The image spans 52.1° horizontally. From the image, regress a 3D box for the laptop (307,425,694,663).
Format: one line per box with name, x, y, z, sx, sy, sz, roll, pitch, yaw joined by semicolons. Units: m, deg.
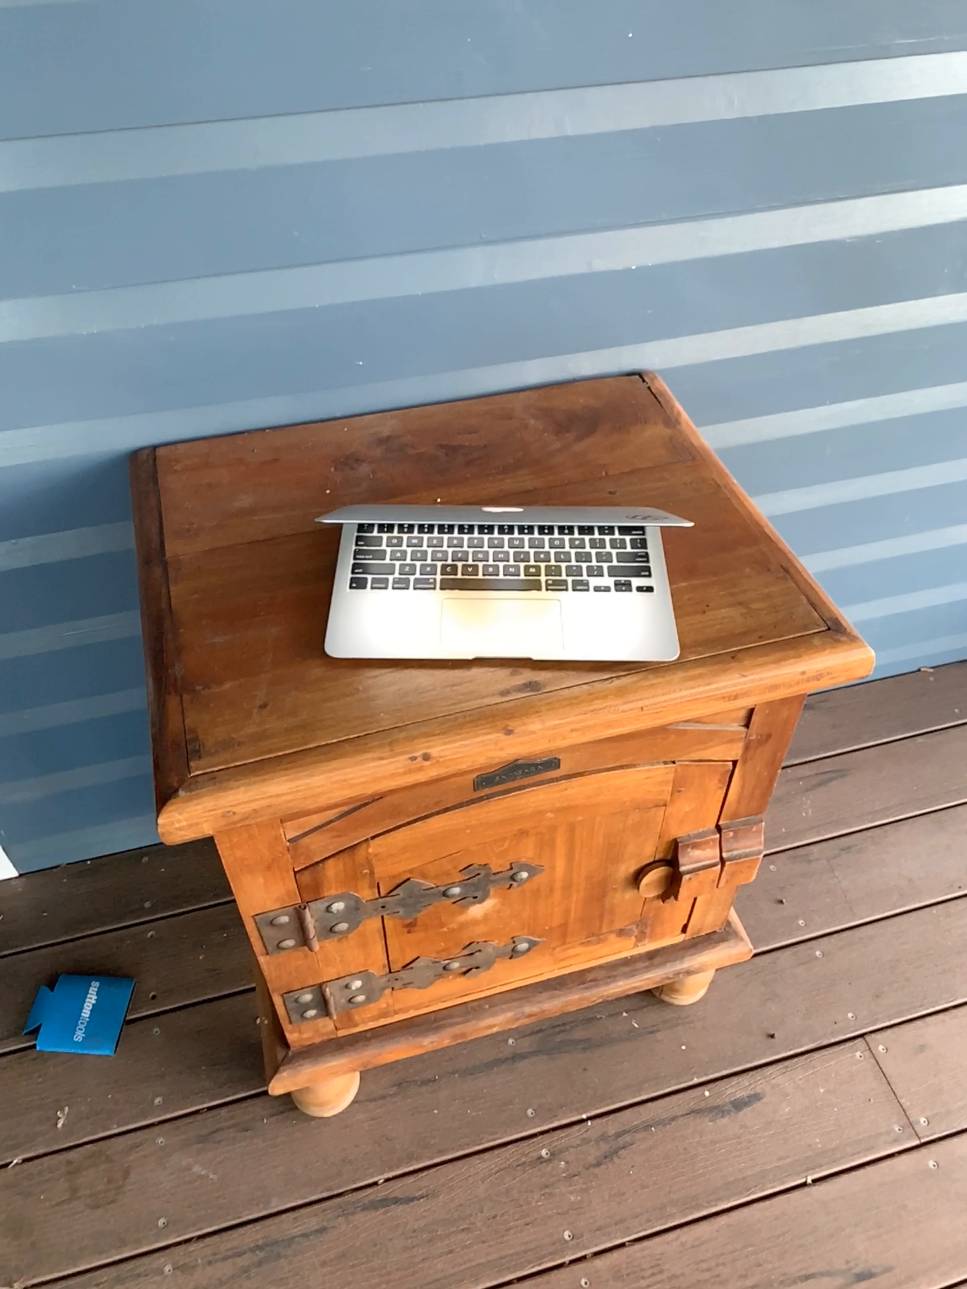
laptop;0.014;-0.086;0.816;0.282;0.099;0.181;0;47;1
